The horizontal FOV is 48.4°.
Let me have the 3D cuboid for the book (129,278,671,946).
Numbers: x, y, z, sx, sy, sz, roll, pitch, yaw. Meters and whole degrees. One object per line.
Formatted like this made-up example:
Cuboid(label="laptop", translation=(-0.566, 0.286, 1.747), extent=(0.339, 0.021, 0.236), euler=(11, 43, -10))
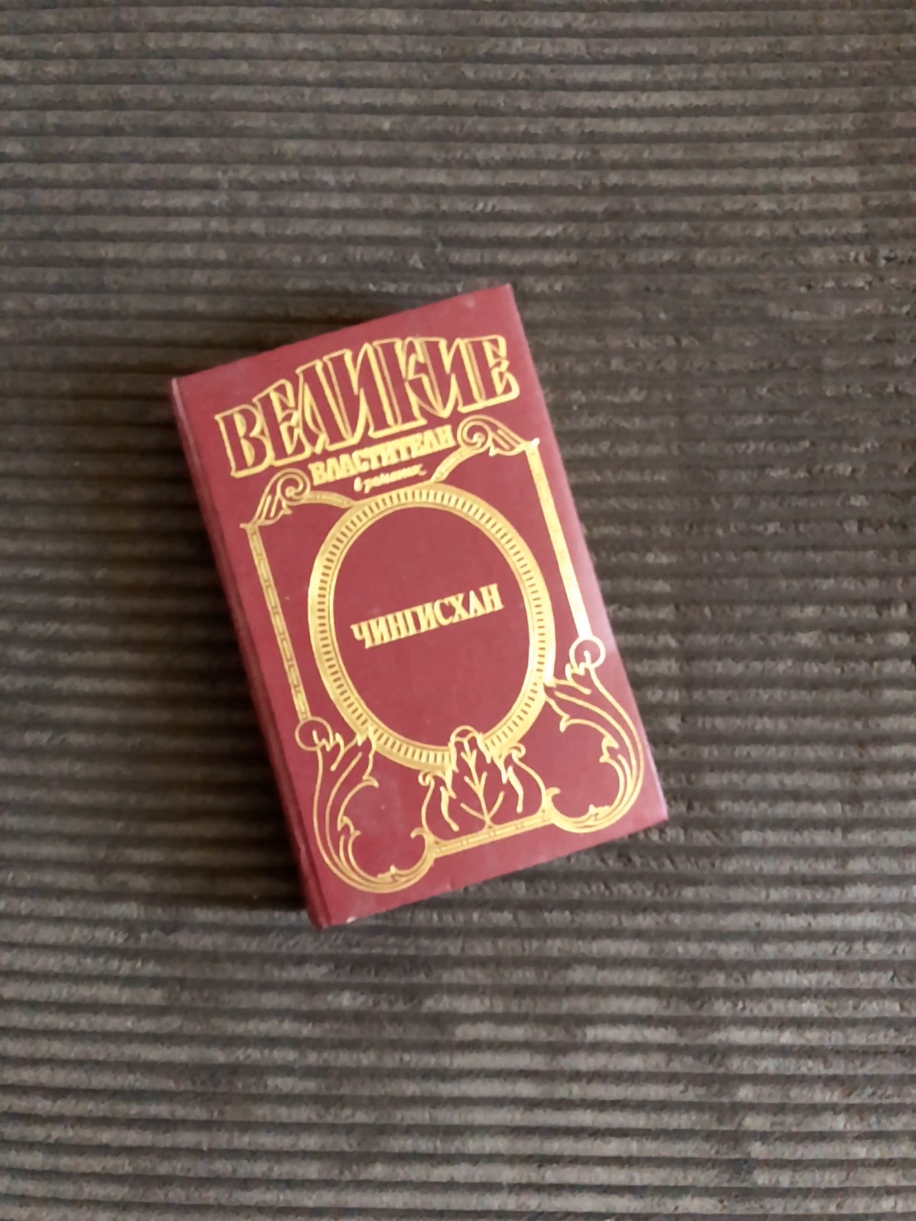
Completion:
Cuboid(label="book", translation=(-0.021, 0.000, 0.379), extent=(0.137, 0.050, 0.202), euler=(-16, 87, -2))
